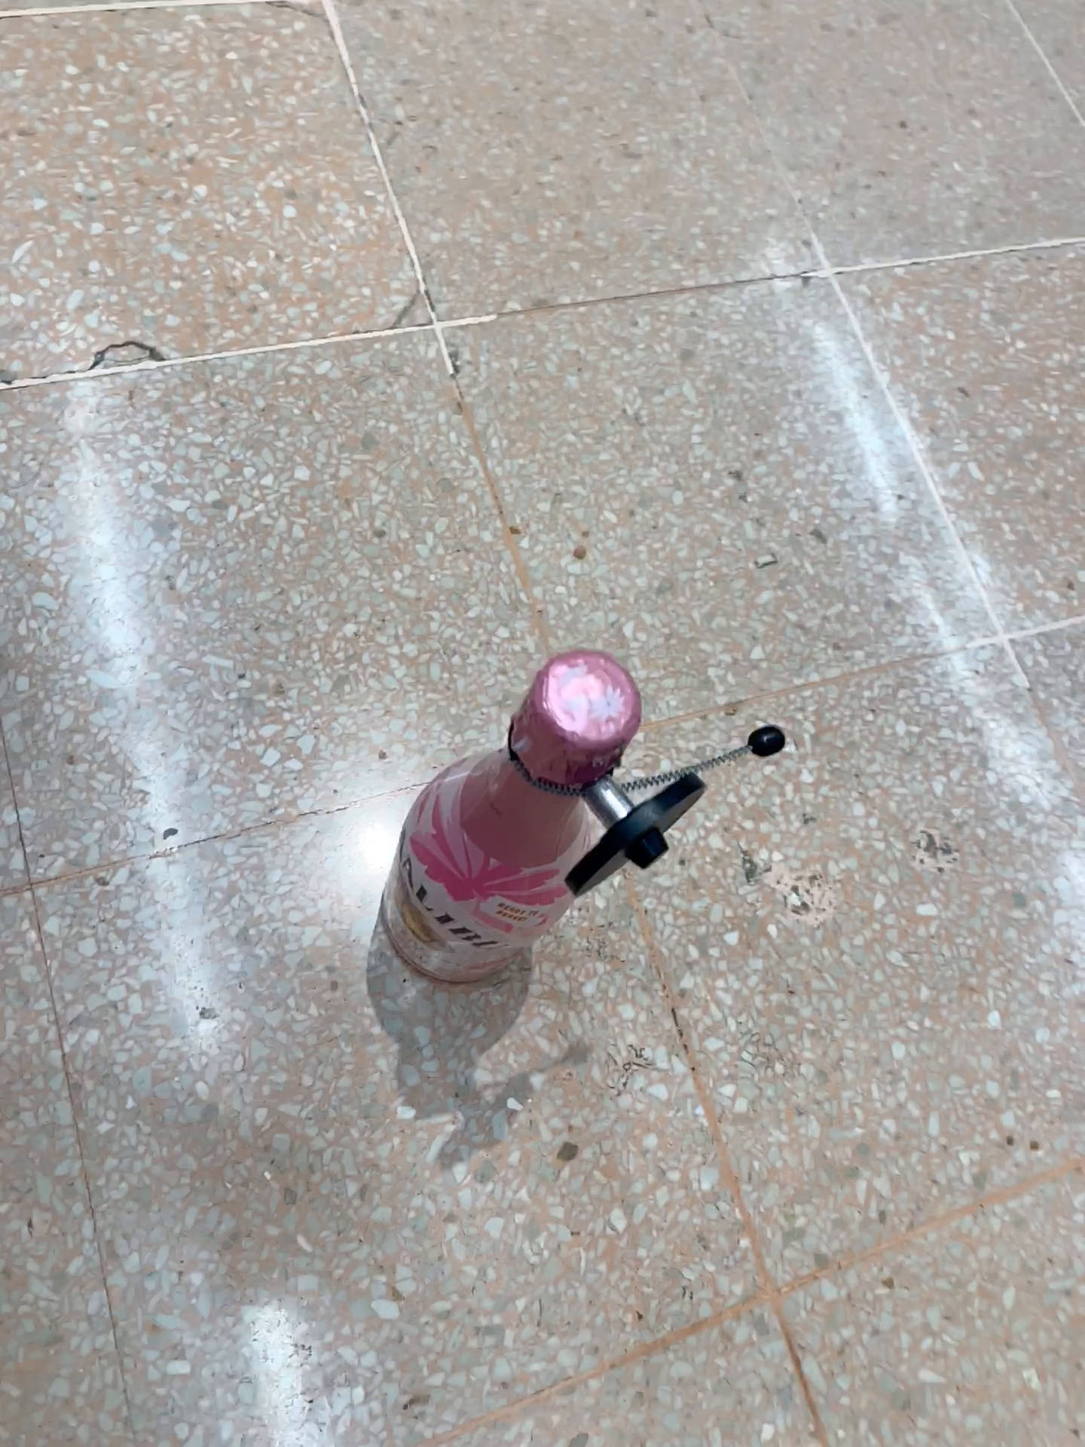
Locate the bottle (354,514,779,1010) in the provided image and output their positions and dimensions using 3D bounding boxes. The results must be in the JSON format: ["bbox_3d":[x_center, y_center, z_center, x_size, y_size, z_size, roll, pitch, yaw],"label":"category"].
[{"bbox_3d":[-0.016,0.042,0.454,0.080,0.308,0.080,4,69,-10],"label":"bottle"}]
